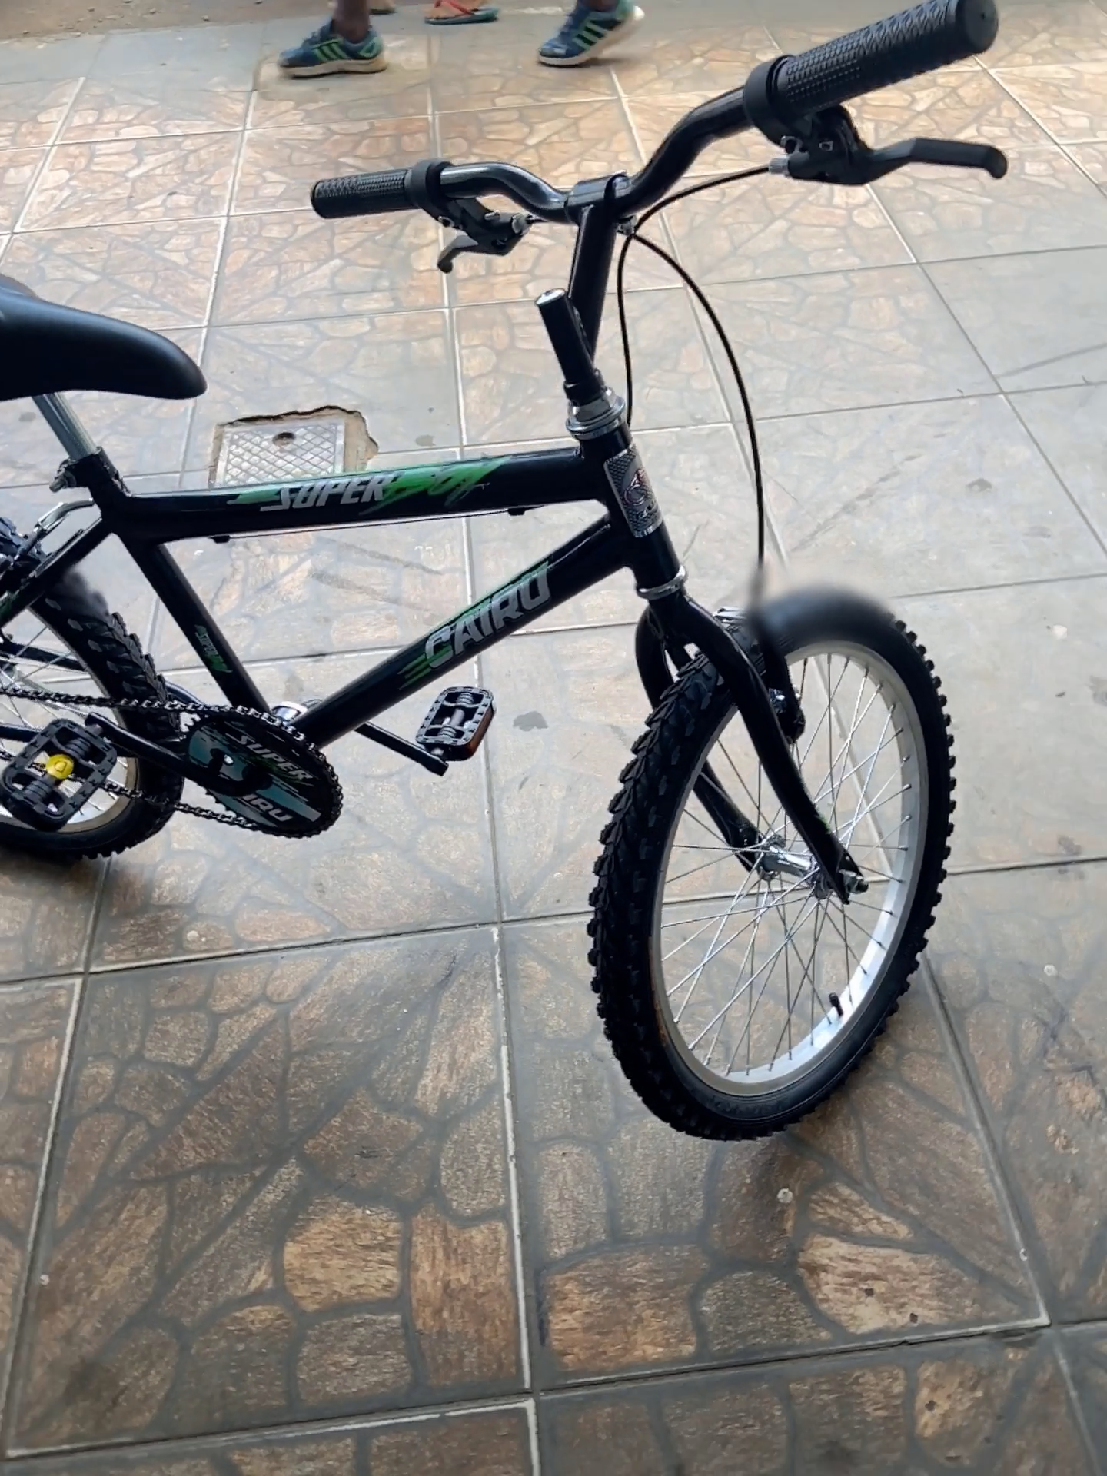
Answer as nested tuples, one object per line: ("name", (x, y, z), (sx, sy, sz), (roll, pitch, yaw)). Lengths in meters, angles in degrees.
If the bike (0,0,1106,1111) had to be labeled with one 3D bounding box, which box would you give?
("bike", (-0.247, -0.191, 1.054), (1.269, 0.935, 0.602), (6, 53, 6))
